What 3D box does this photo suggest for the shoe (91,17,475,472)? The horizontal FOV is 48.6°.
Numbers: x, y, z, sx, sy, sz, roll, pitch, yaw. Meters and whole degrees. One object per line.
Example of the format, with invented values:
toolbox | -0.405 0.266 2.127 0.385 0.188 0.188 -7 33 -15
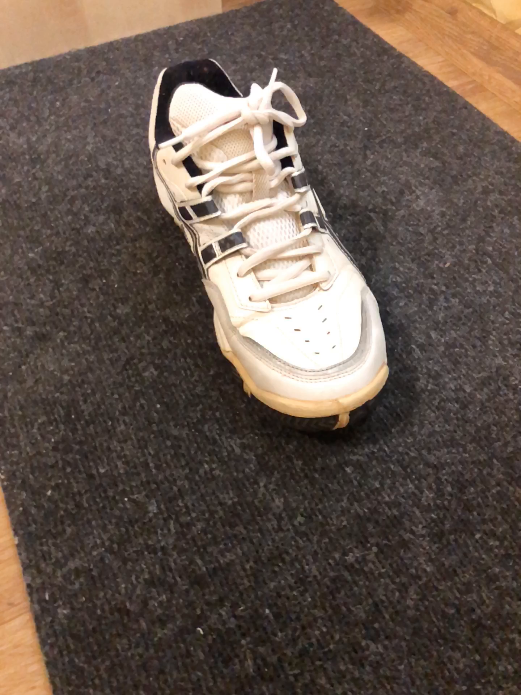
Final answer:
shoe | -0.010 -0.084 0.350 0.100 0.100 0.281 -20 54 -12
